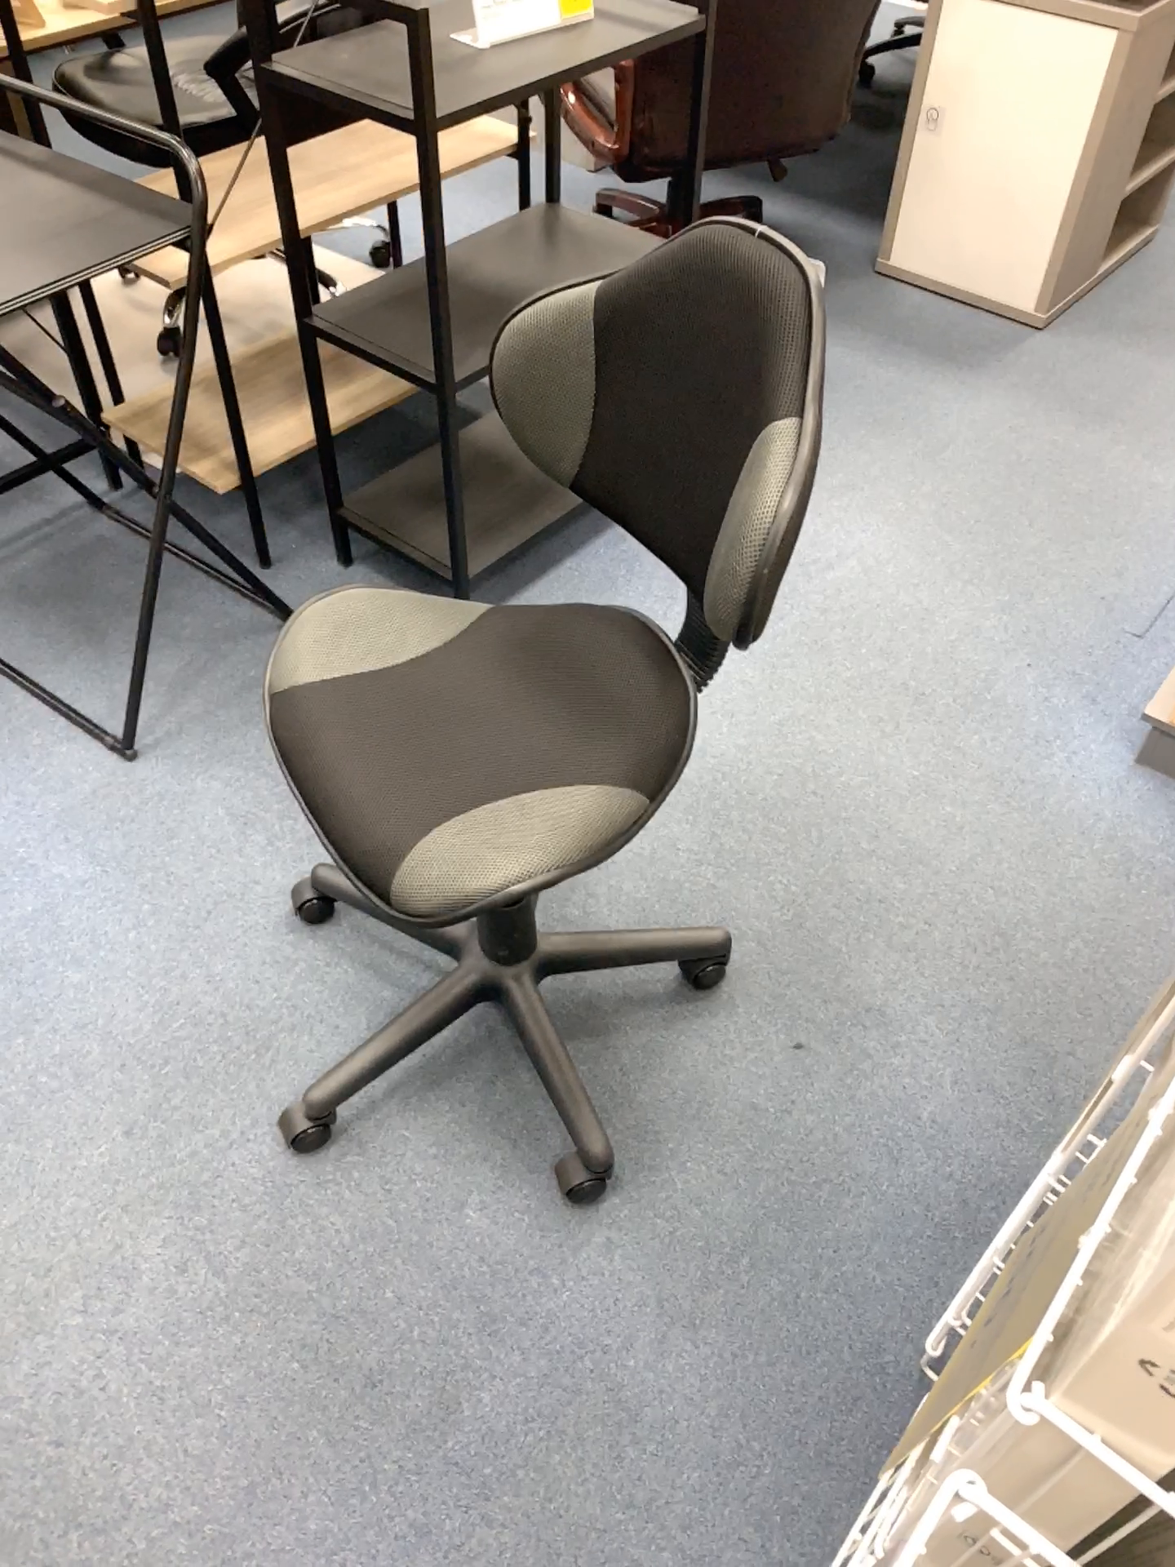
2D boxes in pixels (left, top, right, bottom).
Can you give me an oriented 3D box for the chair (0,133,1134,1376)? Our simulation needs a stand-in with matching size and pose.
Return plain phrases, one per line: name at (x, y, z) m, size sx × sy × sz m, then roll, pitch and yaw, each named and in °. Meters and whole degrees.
chair at (-0.081, -0.016, 1.234) m, size 0.691 × 0.916 × 0.632 m, roll -24°, pitch 52°, yaw -22°
